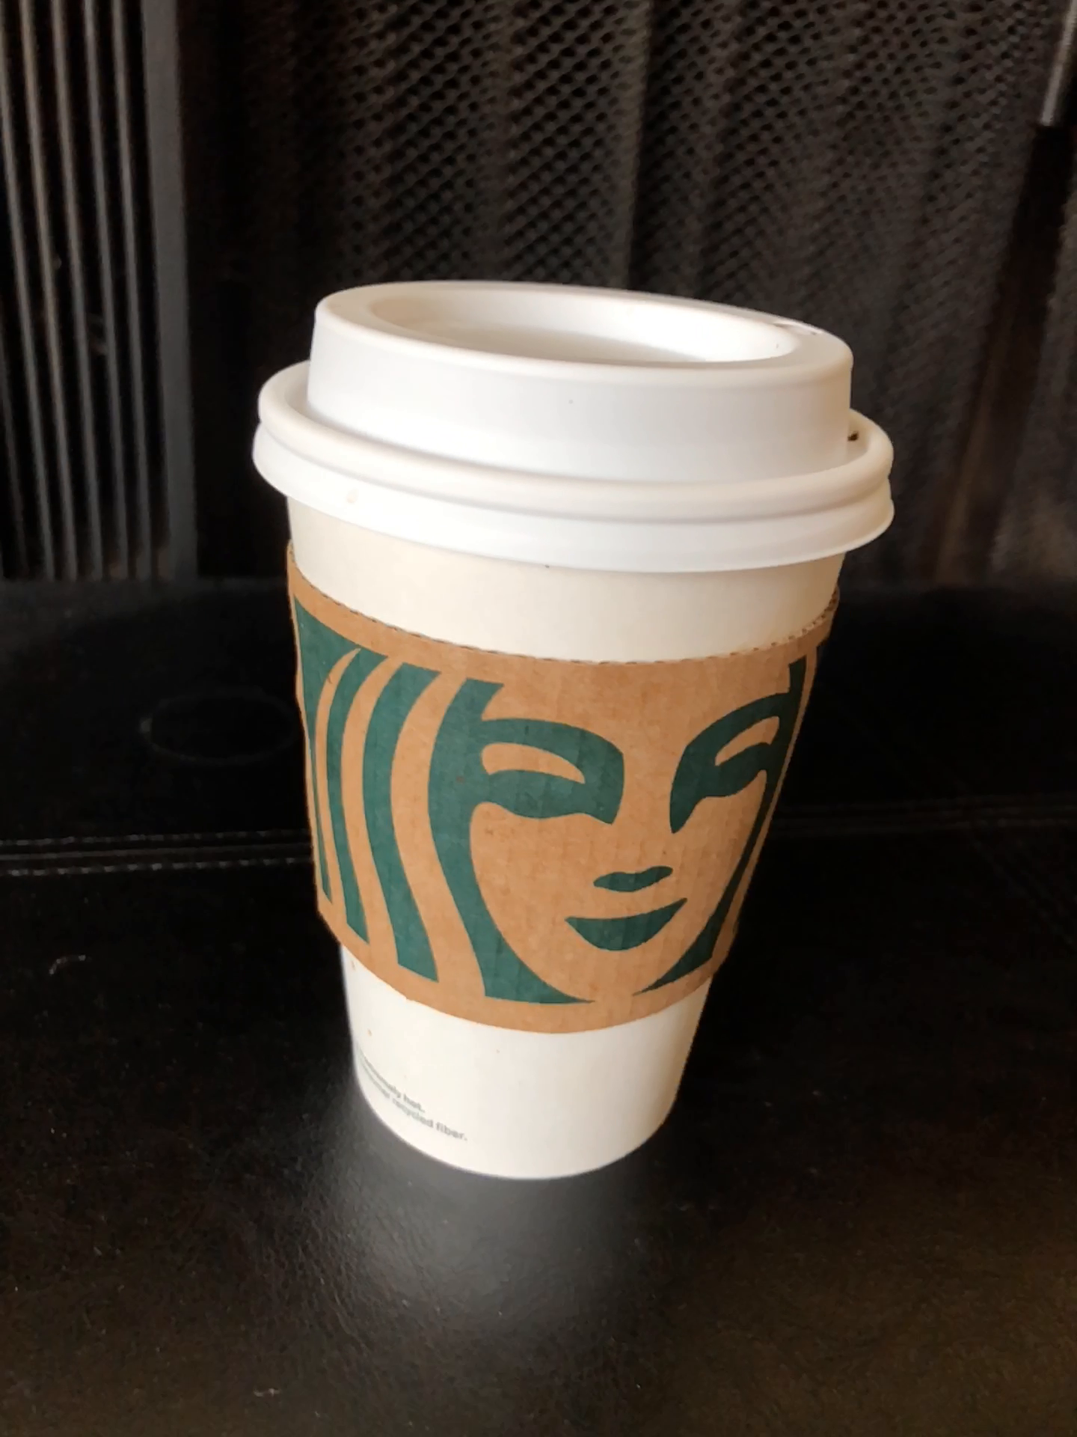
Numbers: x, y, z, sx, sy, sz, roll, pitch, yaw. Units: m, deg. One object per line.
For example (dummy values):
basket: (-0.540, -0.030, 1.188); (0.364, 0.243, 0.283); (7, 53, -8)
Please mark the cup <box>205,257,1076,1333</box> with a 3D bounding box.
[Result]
cup: (0.011, 0.000, 0.188); (0.090, 0.120, 0.090); (5, 27, -2)
